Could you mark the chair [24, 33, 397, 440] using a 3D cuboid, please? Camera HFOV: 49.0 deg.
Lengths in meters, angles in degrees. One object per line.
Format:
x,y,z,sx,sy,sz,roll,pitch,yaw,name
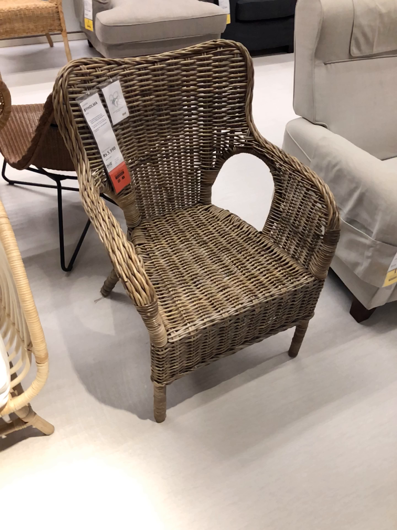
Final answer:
-0.025,-0.087,1.384,0.671,0.924,0.683,-19,50,-21,chair
